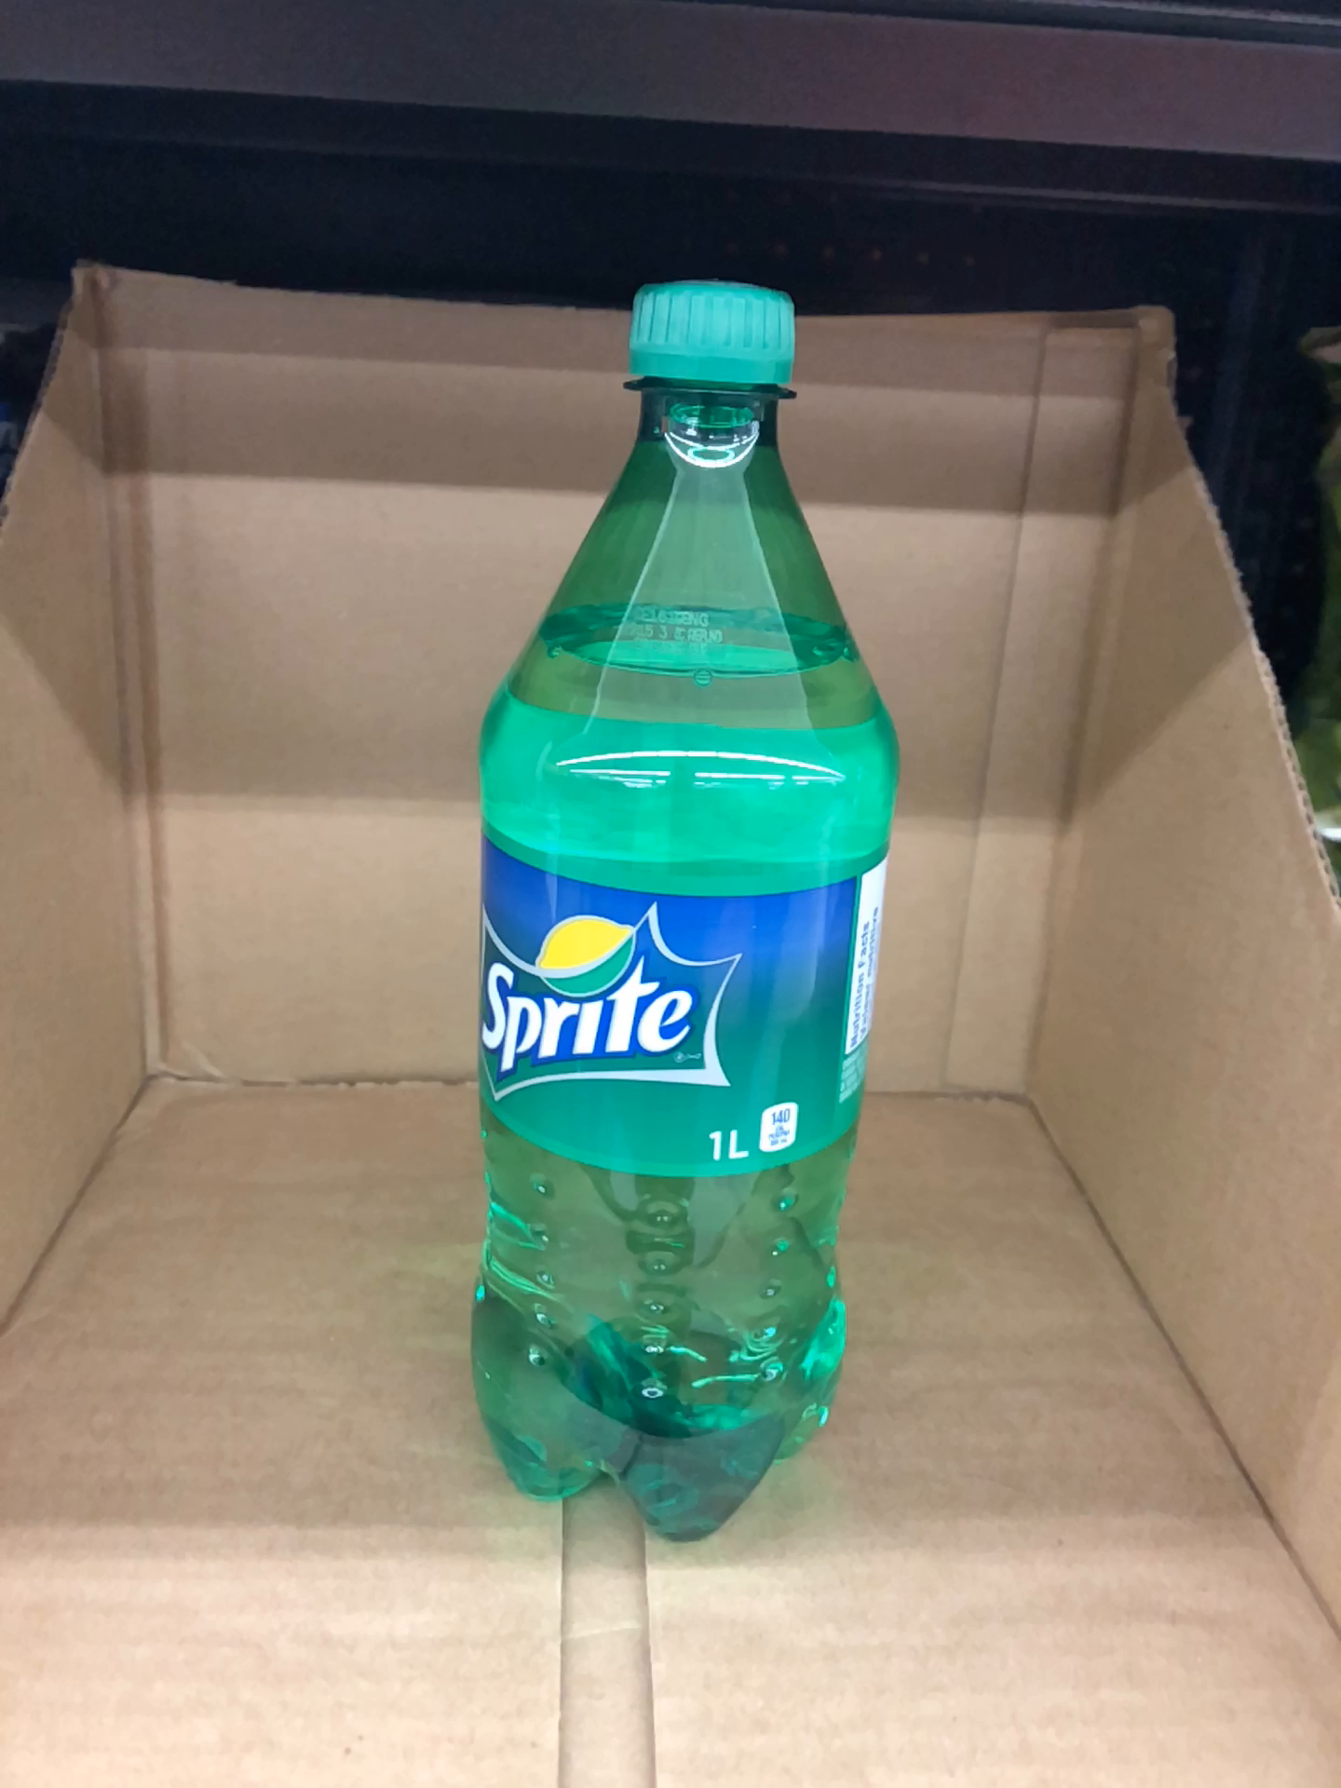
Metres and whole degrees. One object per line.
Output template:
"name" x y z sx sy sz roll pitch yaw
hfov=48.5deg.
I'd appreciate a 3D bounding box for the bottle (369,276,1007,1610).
"bottle" 0.002 0.008 0.313 0.090 0.248 0.091 3 21 -1
